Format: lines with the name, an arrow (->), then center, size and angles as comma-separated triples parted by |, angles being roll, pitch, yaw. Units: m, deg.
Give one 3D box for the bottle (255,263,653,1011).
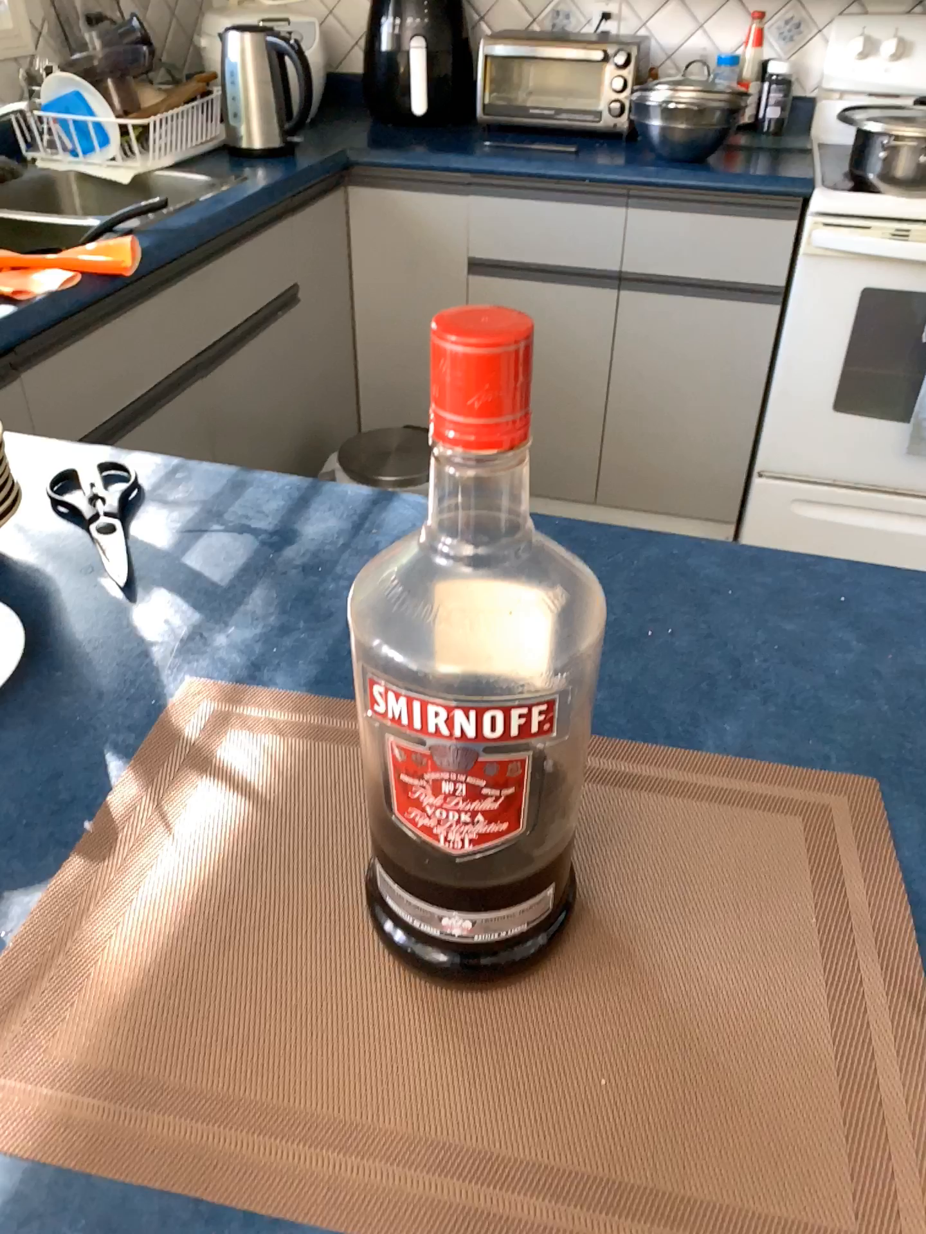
bottle -> 0.002, 0.024, 0.423 | 0.120, 0.317, 0.111 | 1, 35, 0
